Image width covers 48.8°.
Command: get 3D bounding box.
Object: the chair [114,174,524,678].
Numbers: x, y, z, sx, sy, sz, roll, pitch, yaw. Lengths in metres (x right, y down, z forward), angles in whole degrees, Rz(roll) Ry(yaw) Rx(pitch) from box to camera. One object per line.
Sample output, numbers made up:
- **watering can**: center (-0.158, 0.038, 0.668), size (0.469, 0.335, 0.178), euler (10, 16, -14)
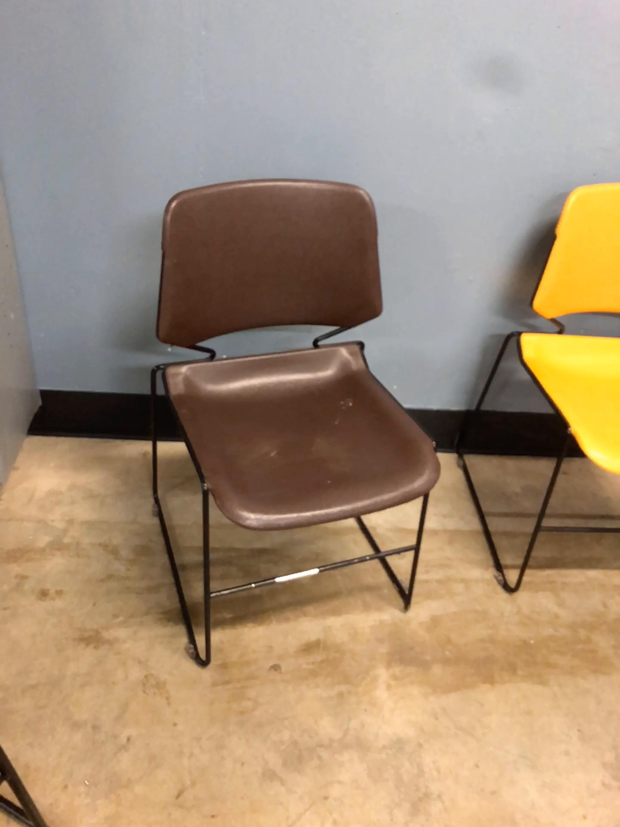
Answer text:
- **chair**: center (-0.052, 0.000, 1.359), size (0.516, 0.751, 0.548), euler (-9, 39, -20)
